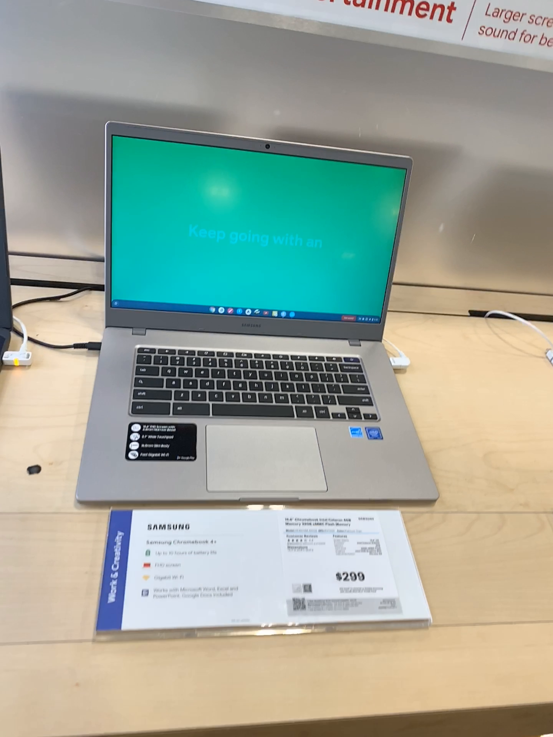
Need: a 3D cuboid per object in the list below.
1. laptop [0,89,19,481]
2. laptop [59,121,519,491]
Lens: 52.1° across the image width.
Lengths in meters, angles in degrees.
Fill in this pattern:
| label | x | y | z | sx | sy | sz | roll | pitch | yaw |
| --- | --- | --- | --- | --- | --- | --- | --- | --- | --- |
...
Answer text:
| label | x | y | z | sx | sy | sz | roll | pitch | yaw |
| --- | --- | --- | --- | --- | --- | --- | --- | --- | --- |
| laptop | -0.425 | -0.078 | 0.496 | 0.300 | 0.191 | 0.288 | 1 | 43 | -11 |
| laptop | -0.009 | -0.072 | 0.590 | 0.340 | 0.200 | 0.326 | 2 | 44 | -10 |
